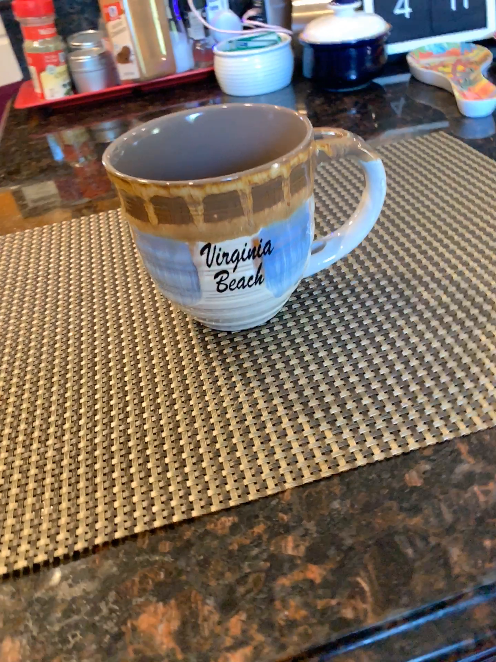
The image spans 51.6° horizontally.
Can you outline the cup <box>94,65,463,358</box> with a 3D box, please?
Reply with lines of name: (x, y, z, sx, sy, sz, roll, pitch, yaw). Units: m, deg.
cup: (0.011, -0.066, 0.271, 0.150, 0.090, 0.101, -11, 40, -2)
